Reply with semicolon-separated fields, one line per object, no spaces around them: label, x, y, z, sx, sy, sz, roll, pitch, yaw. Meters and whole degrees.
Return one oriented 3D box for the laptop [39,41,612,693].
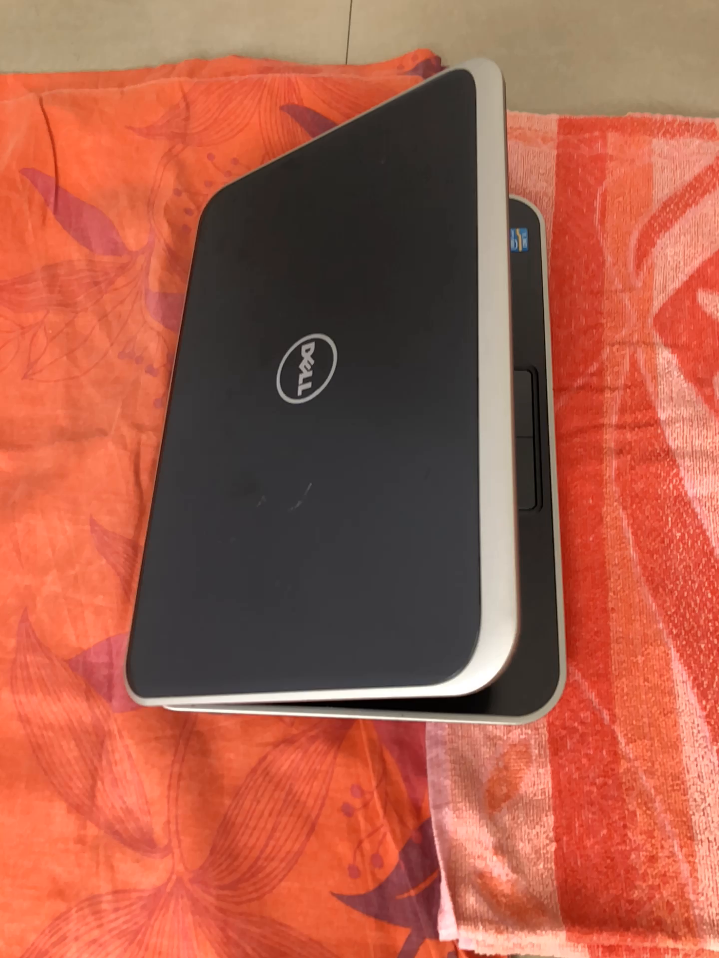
laptop;-0.006;-0.066;0.456;0.241;0.129;0.346;0;67;7
